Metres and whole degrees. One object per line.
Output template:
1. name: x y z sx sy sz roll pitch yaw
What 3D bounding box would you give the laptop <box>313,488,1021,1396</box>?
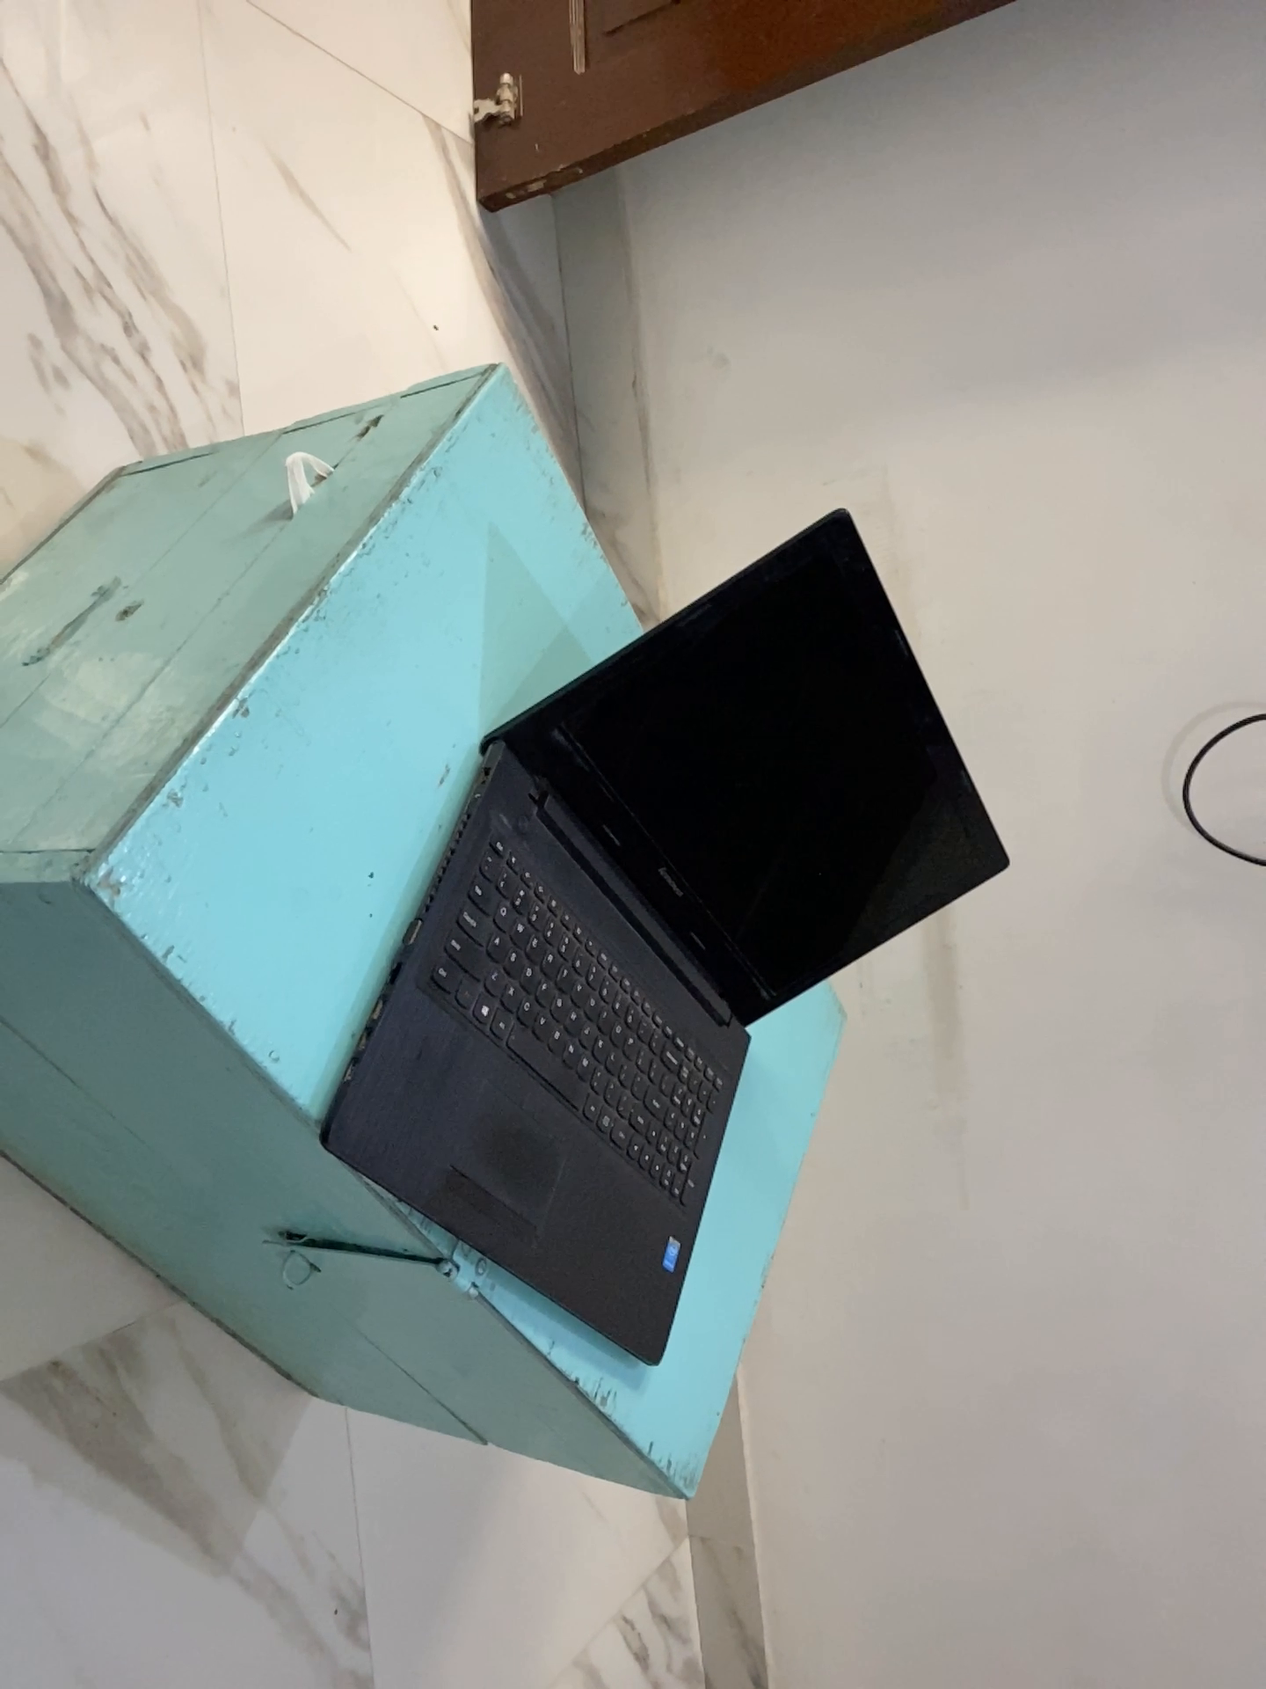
1. laptop: 0.072 0.074 0.833 0.372 0.190 0.424 52 48 -42
